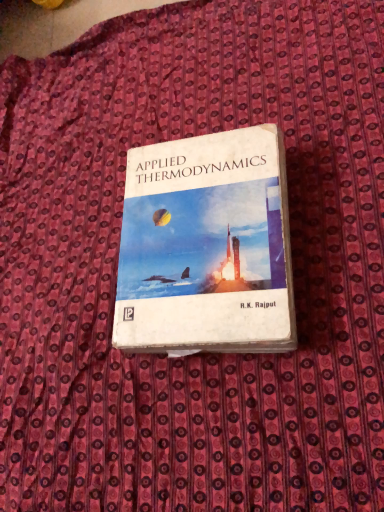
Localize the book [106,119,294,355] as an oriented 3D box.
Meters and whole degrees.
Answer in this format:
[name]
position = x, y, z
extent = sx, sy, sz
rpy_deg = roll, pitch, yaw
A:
[book]
position = 0.011, -0.018, 0.471
extent = 0.178, 0.060, 0.240
rpy_deg = -5, 68, 17
